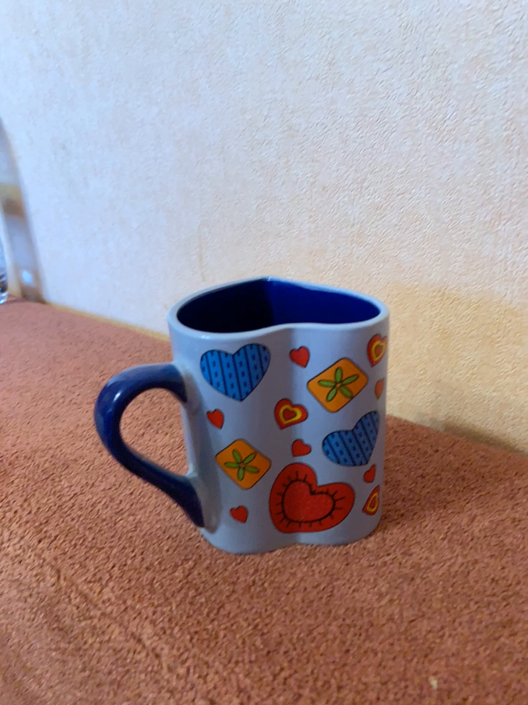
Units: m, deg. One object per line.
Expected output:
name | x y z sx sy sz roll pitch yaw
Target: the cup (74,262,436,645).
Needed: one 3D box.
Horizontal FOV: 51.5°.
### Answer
cup | 0.000 0.024 0.214 0.098 0.090 0.088 -23 29 -39
